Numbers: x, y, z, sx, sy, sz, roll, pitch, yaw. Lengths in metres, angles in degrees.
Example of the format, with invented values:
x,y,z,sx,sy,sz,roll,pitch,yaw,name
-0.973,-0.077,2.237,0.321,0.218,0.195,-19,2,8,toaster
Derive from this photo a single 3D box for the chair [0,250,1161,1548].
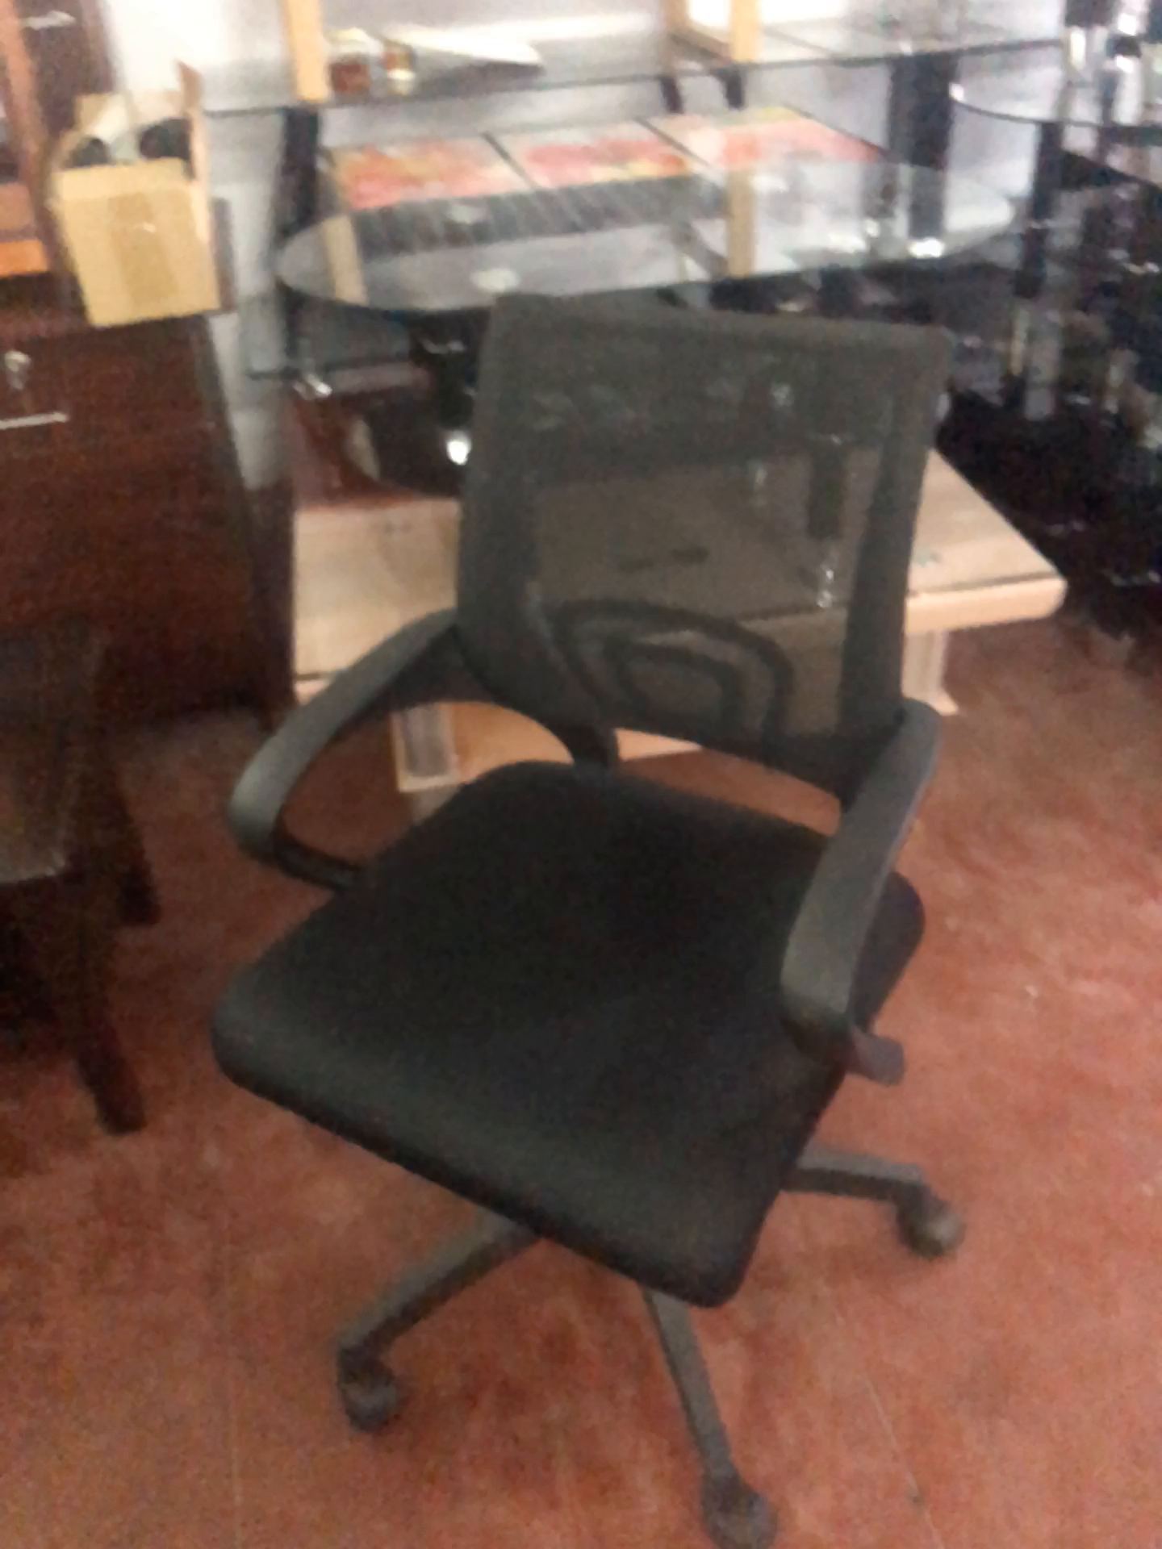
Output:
x,y,z,sx,sy,sz,roll,pitch,yaw,name
-0.023,0.115,1.169,0.750,0.915,0.633,16,40,25,chair
